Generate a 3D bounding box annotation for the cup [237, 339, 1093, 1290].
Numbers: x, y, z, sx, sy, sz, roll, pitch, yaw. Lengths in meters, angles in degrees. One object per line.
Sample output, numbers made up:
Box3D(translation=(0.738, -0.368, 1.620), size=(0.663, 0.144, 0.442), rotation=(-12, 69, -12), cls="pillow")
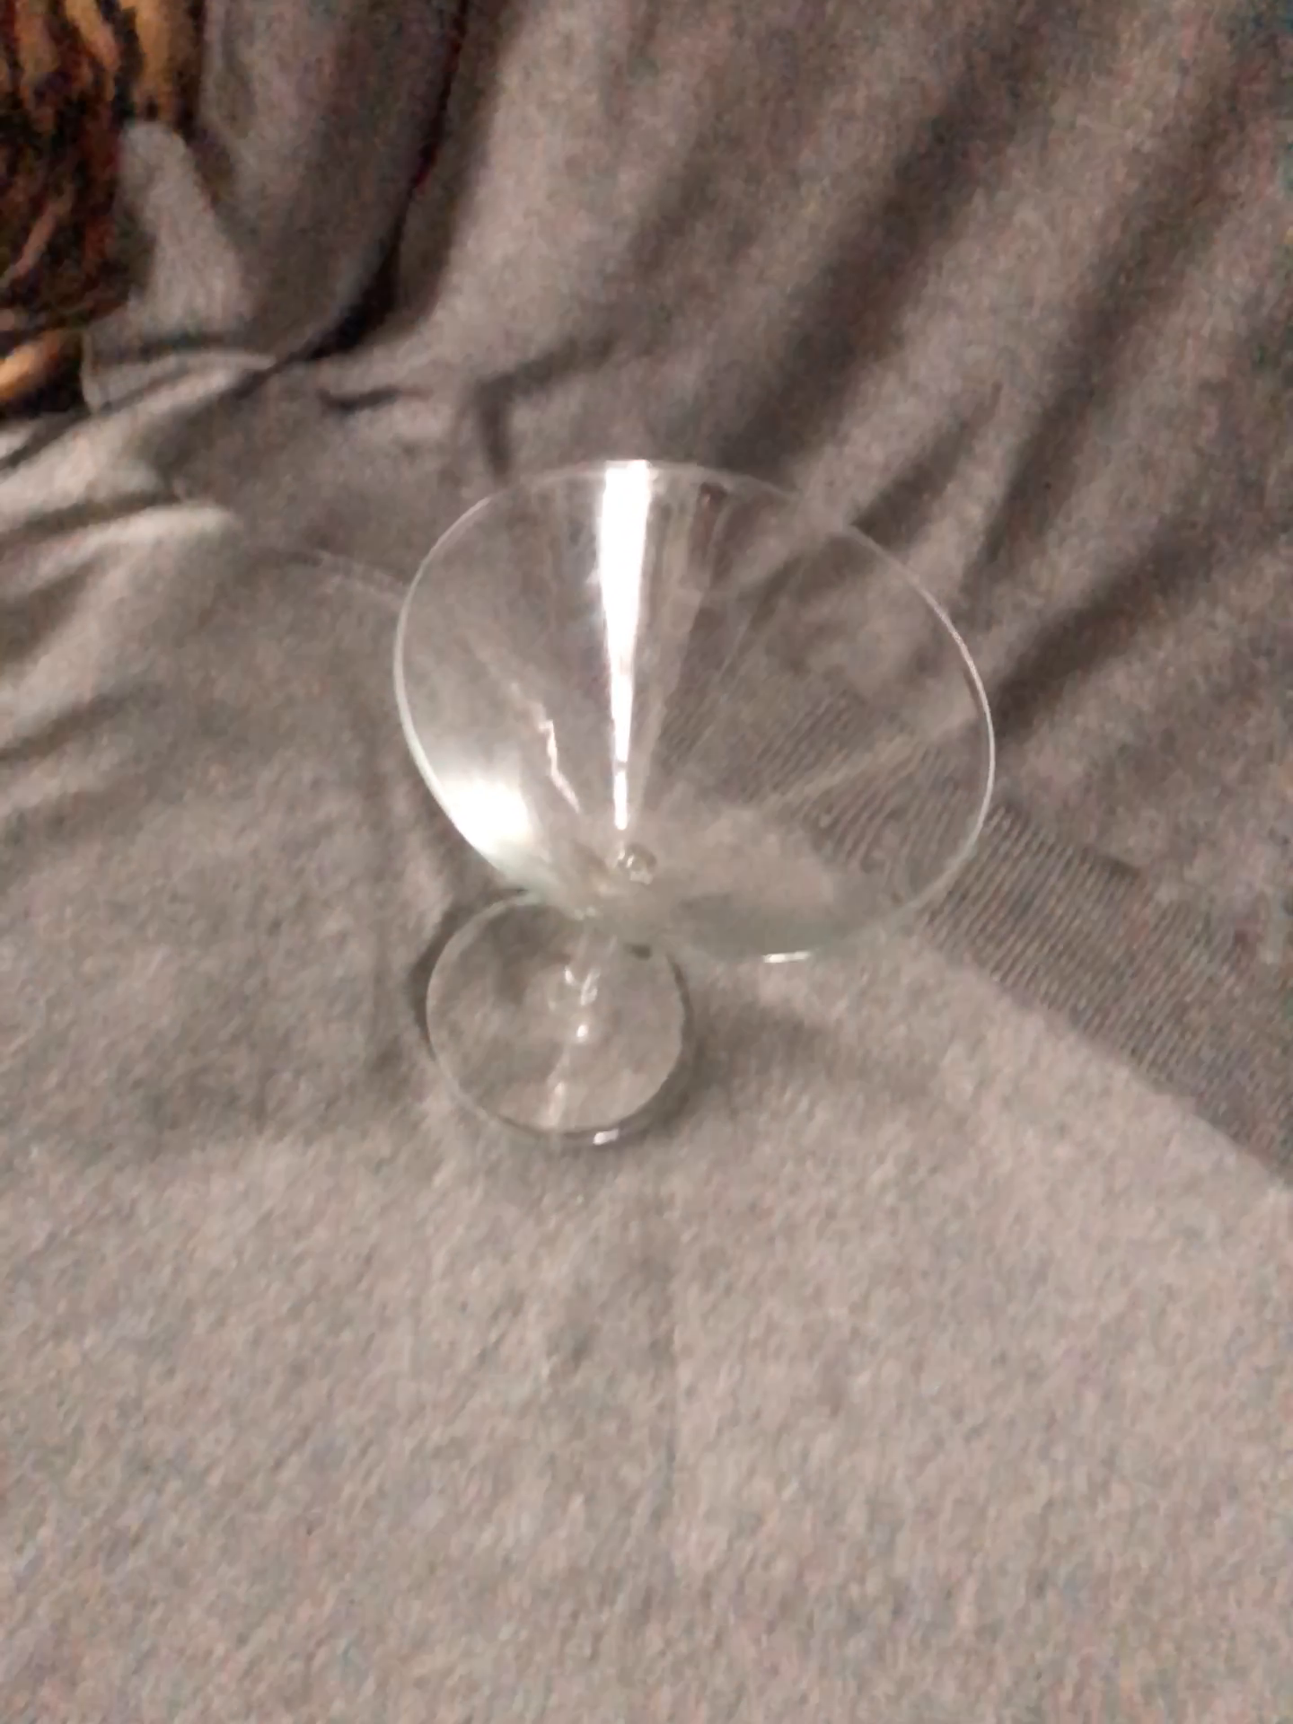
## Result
Box3D(translation=(-0.009, 0.000, 0.324), size=(0.113, 0.157, 0.112), rotation=(6, 62, -12), cls="cup")
